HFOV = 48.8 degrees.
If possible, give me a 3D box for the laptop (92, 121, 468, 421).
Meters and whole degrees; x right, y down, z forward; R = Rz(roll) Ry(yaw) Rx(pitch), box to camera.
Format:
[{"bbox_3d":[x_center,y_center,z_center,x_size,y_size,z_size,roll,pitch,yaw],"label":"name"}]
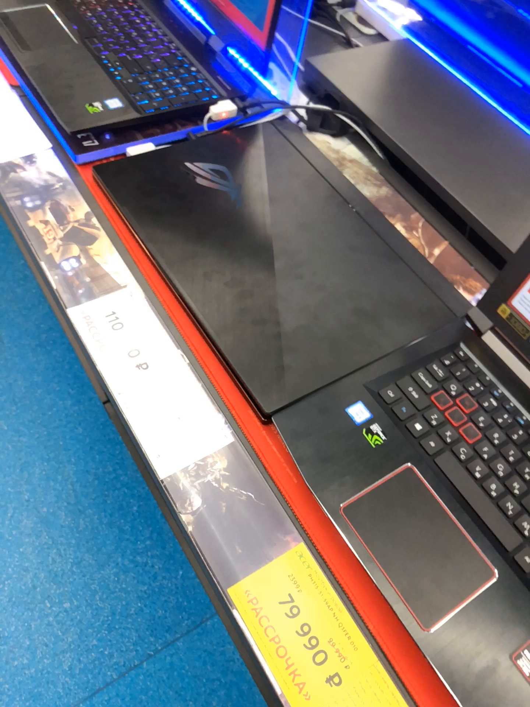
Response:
[{"bbox_3d":[0.008,-0.119,0.621,0.254,0.006,0.348,-24,62,-24],"label":"laptop"}]
